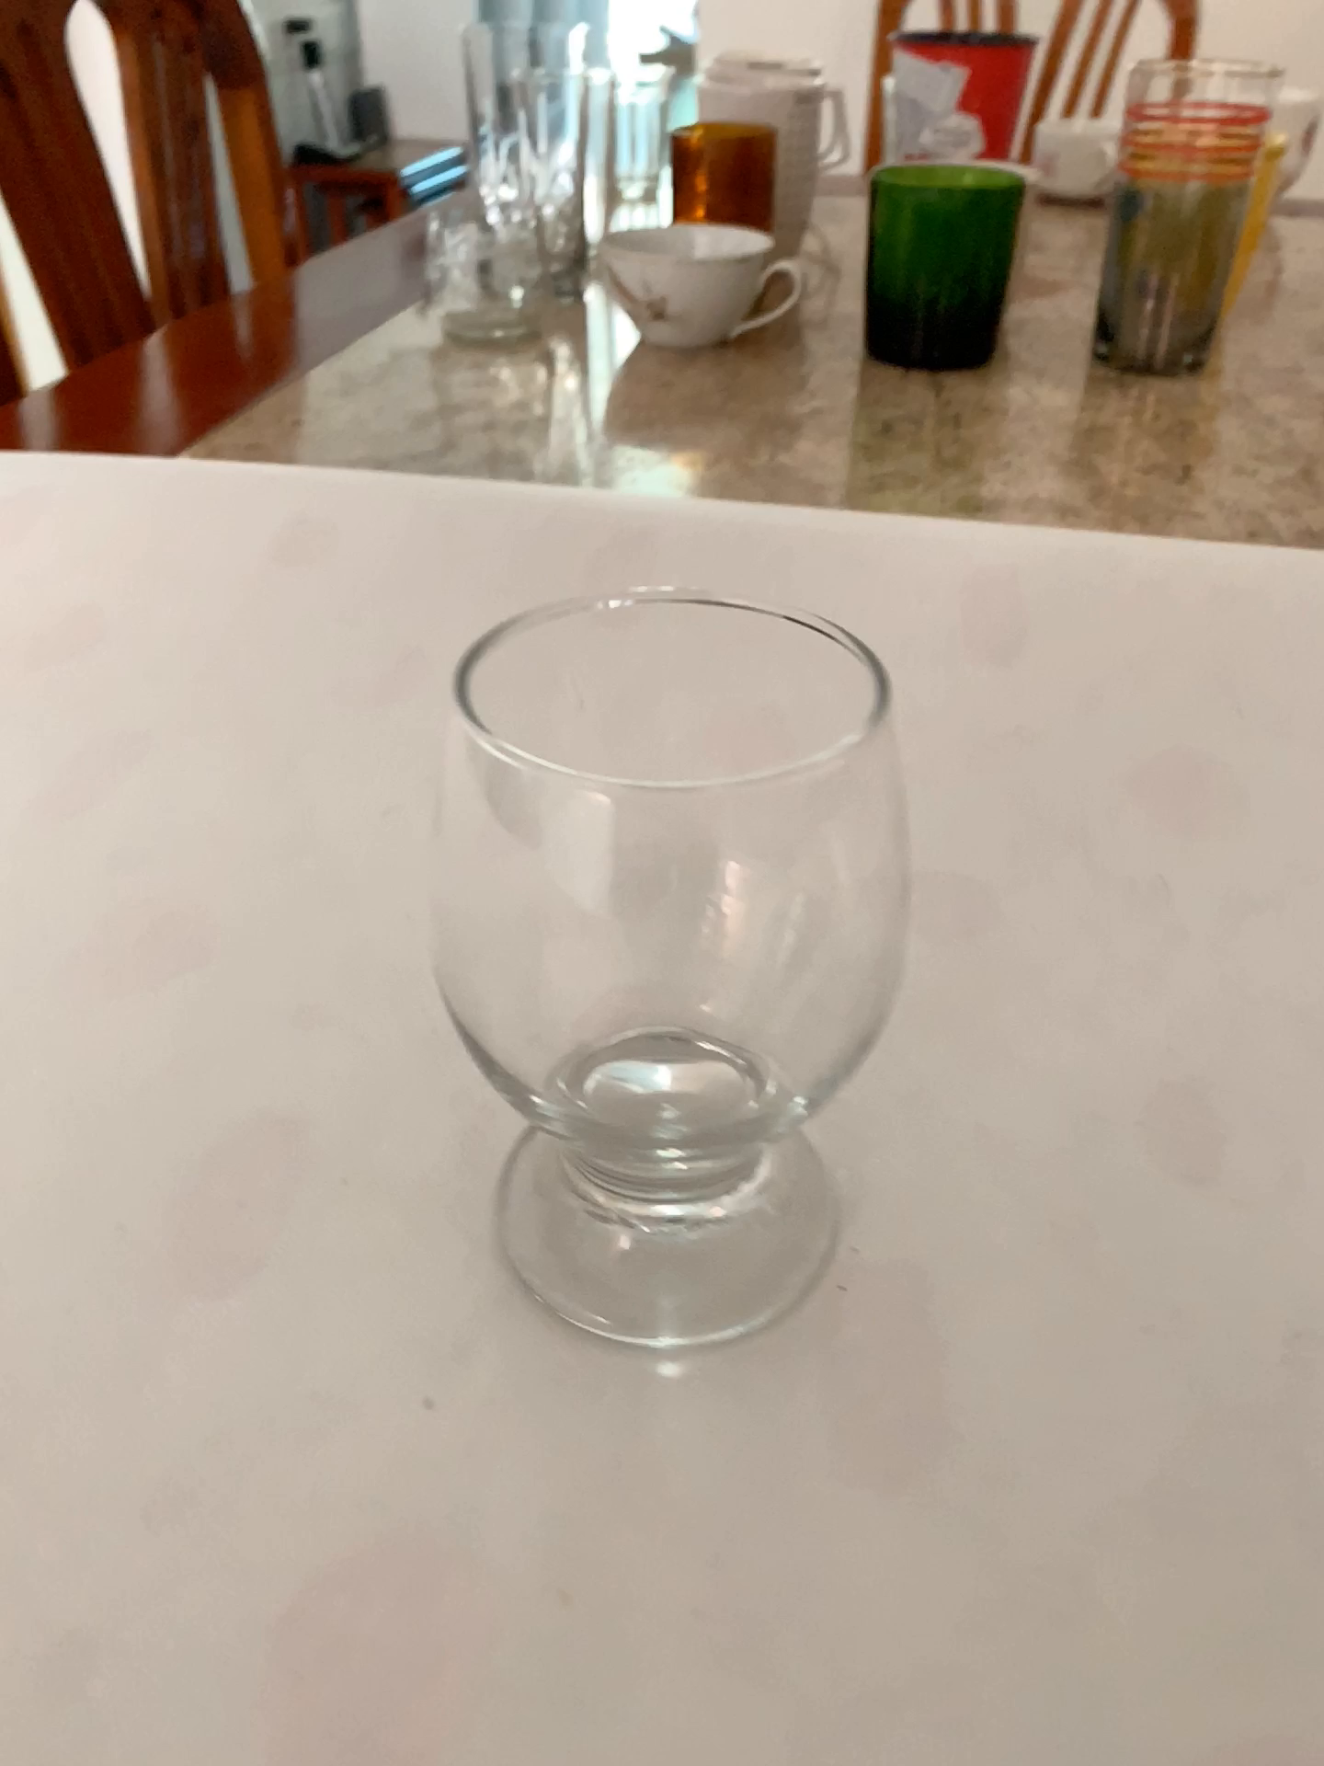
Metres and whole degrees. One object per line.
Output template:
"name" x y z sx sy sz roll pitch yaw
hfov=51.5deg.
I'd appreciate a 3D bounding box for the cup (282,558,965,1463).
"cup" 0.000 0.019 0.226 0.080 0.112 0.080 0 35 0
